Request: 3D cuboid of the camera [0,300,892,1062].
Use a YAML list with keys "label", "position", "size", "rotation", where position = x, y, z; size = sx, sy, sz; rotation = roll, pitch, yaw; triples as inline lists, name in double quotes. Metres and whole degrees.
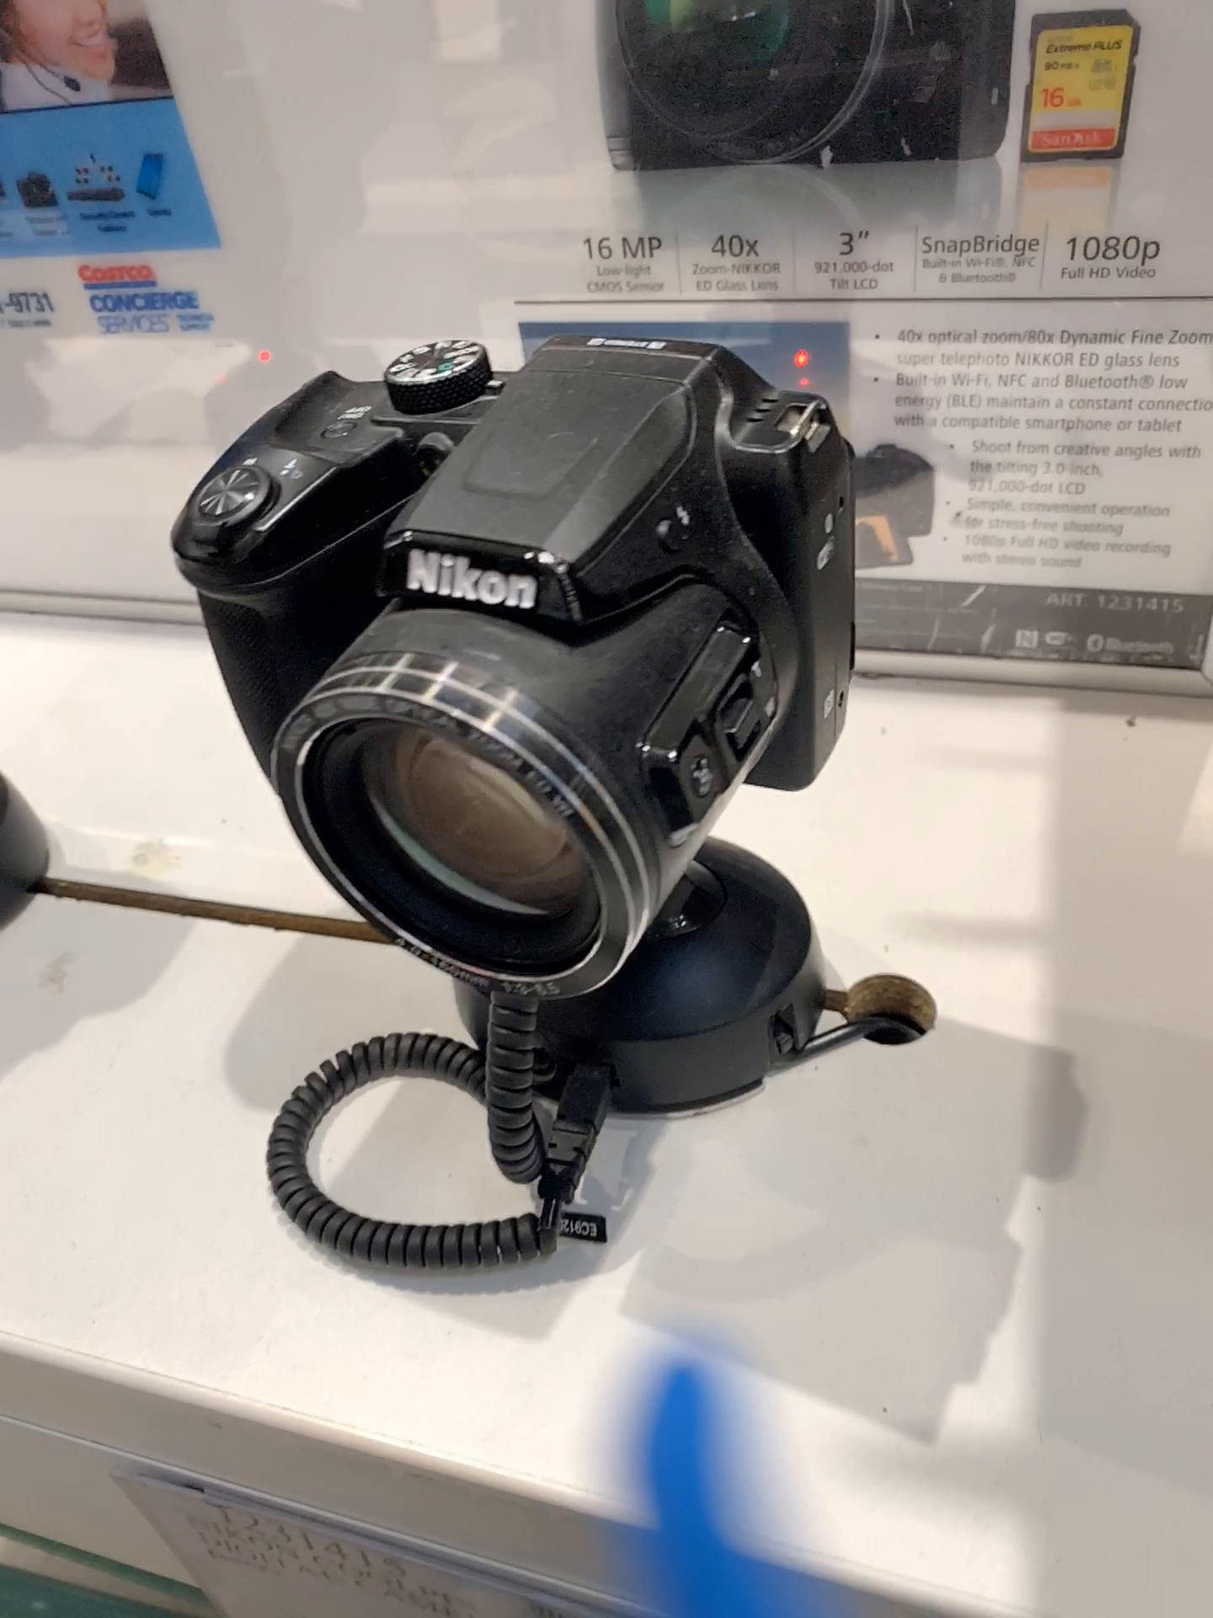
- label: "camera"
  position: [-0.017, -0.024, 0.202]
  size: [0.110, 0.089, 0.060]
  rotation: [10, 44, 21]
